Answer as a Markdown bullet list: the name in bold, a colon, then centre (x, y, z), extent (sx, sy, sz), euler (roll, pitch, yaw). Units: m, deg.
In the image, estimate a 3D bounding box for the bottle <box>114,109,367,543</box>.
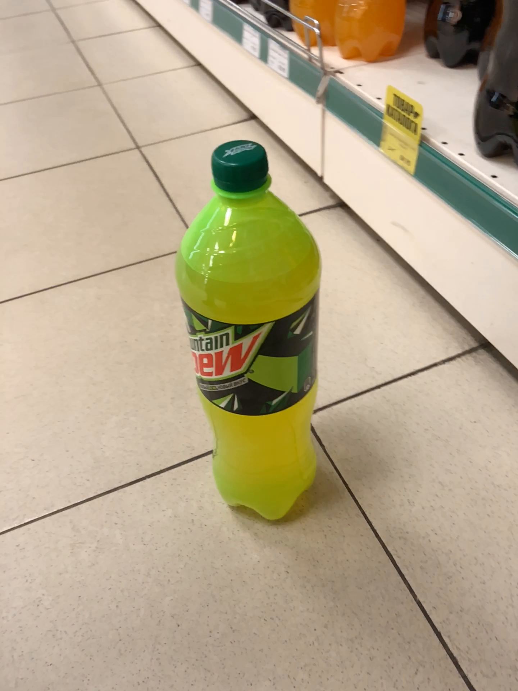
- **bottle**: centre (-0.004, 0.007, 0.406), extent (0.100, 0.294, 0.095), euler (-2, 45, 2)
